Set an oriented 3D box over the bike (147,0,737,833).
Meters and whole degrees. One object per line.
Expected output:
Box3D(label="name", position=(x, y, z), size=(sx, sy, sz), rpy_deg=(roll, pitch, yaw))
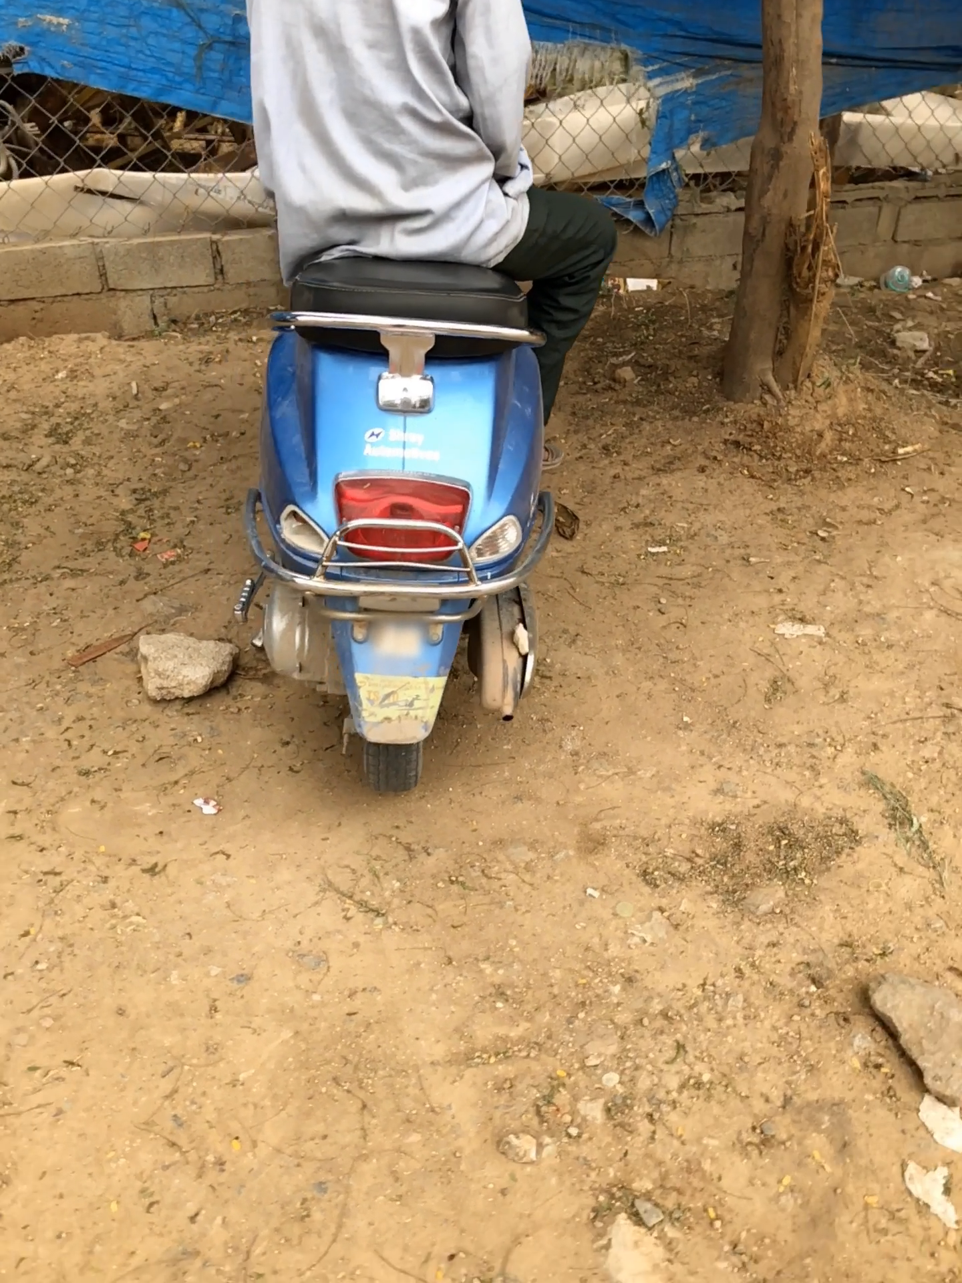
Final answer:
Box3D(label="bike", position=(-0.201, -0.716, 2.055), size=(0.632, 1.253, 1.575), rpy_deg=(-5, 36, -9))
